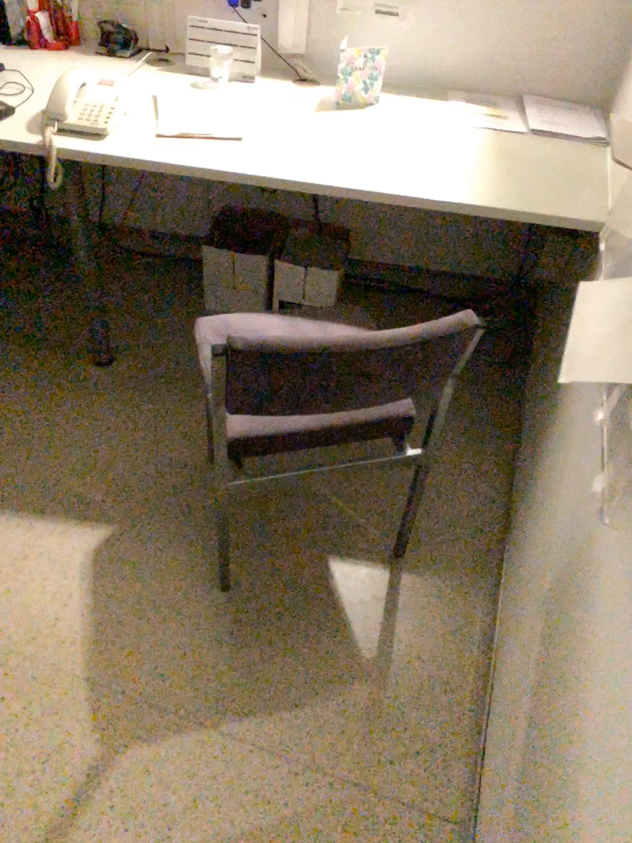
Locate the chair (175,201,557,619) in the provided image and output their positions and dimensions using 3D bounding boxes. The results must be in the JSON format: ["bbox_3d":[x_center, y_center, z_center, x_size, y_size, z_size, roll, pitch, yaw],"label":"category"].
[{"bbox_3d":[0.023,-0.037,1.395,0.570,0.664,0.555,-6,44,-14],"label":"chair"}]
